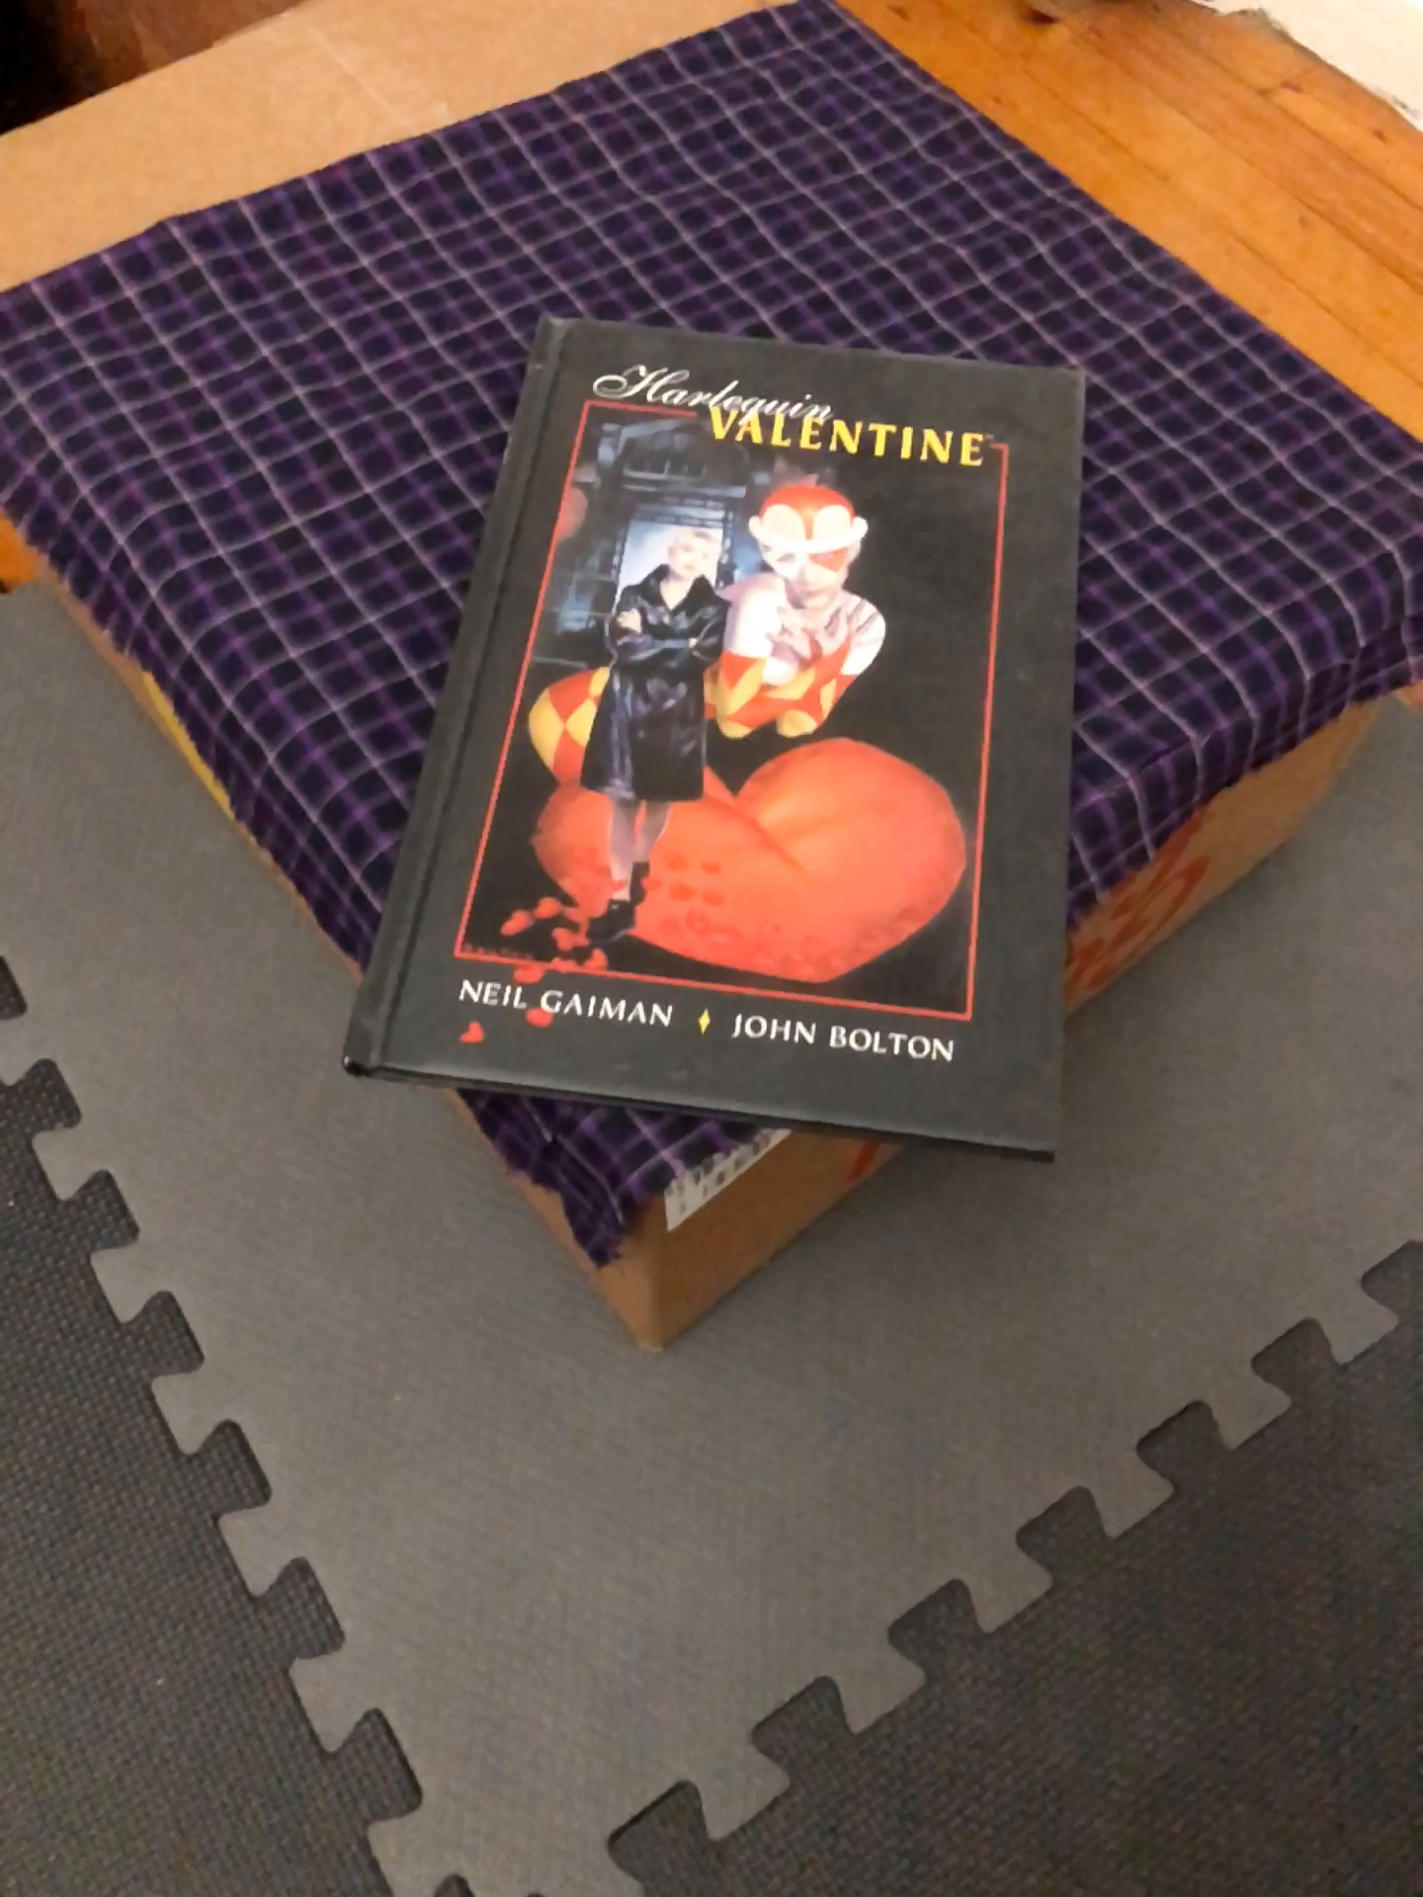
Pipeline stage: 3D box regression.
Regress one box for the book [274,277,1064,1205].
[{"bbox_3d":[0.004,-0.076,0.435,0.180,0.020,0.281,6,61,2],"label":"book"}]
